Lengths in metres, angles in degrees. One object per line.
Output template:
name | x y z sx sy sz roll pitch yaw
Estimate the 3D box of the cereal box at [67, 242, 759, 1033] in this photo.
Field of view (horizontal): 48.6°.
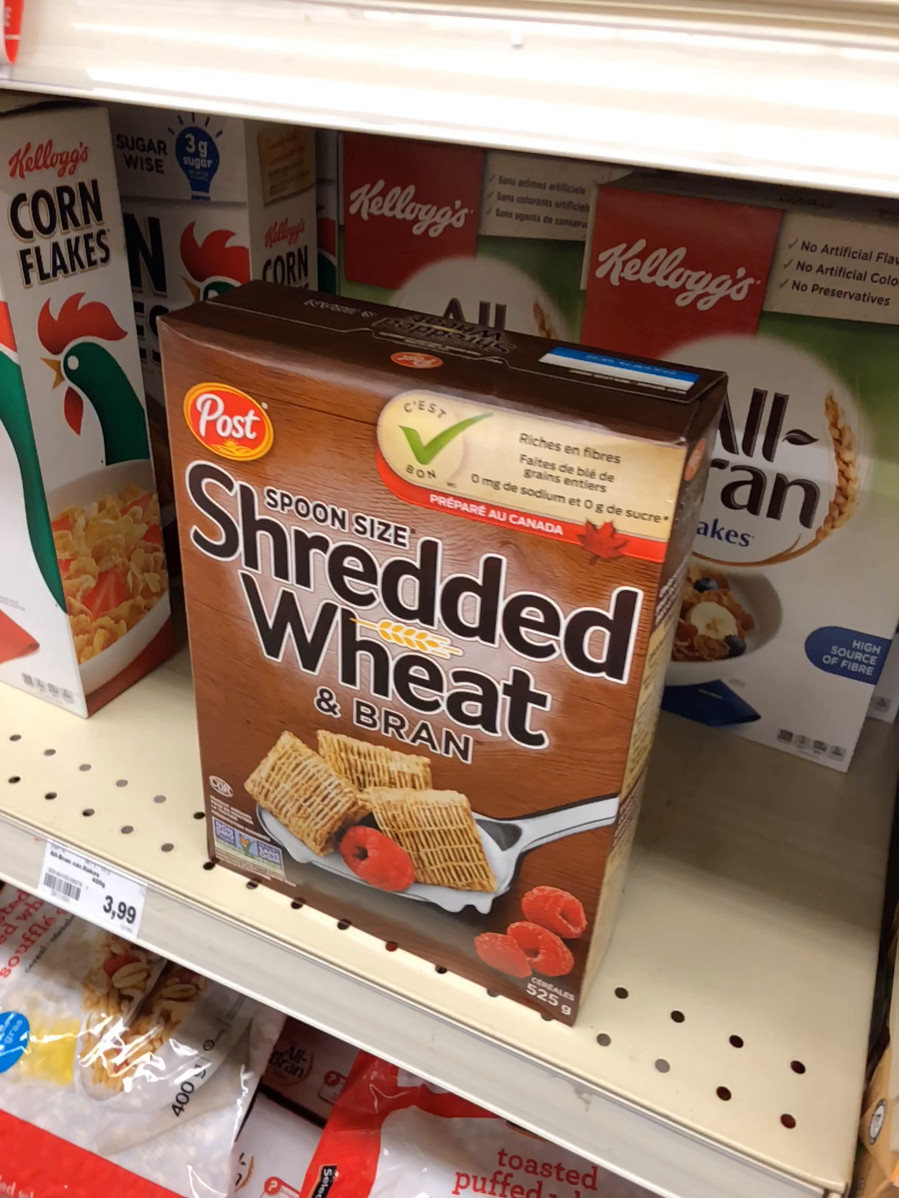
cereal box | -0.021 0.015 0.379 0.210 0.248 0.070 17 35 21
